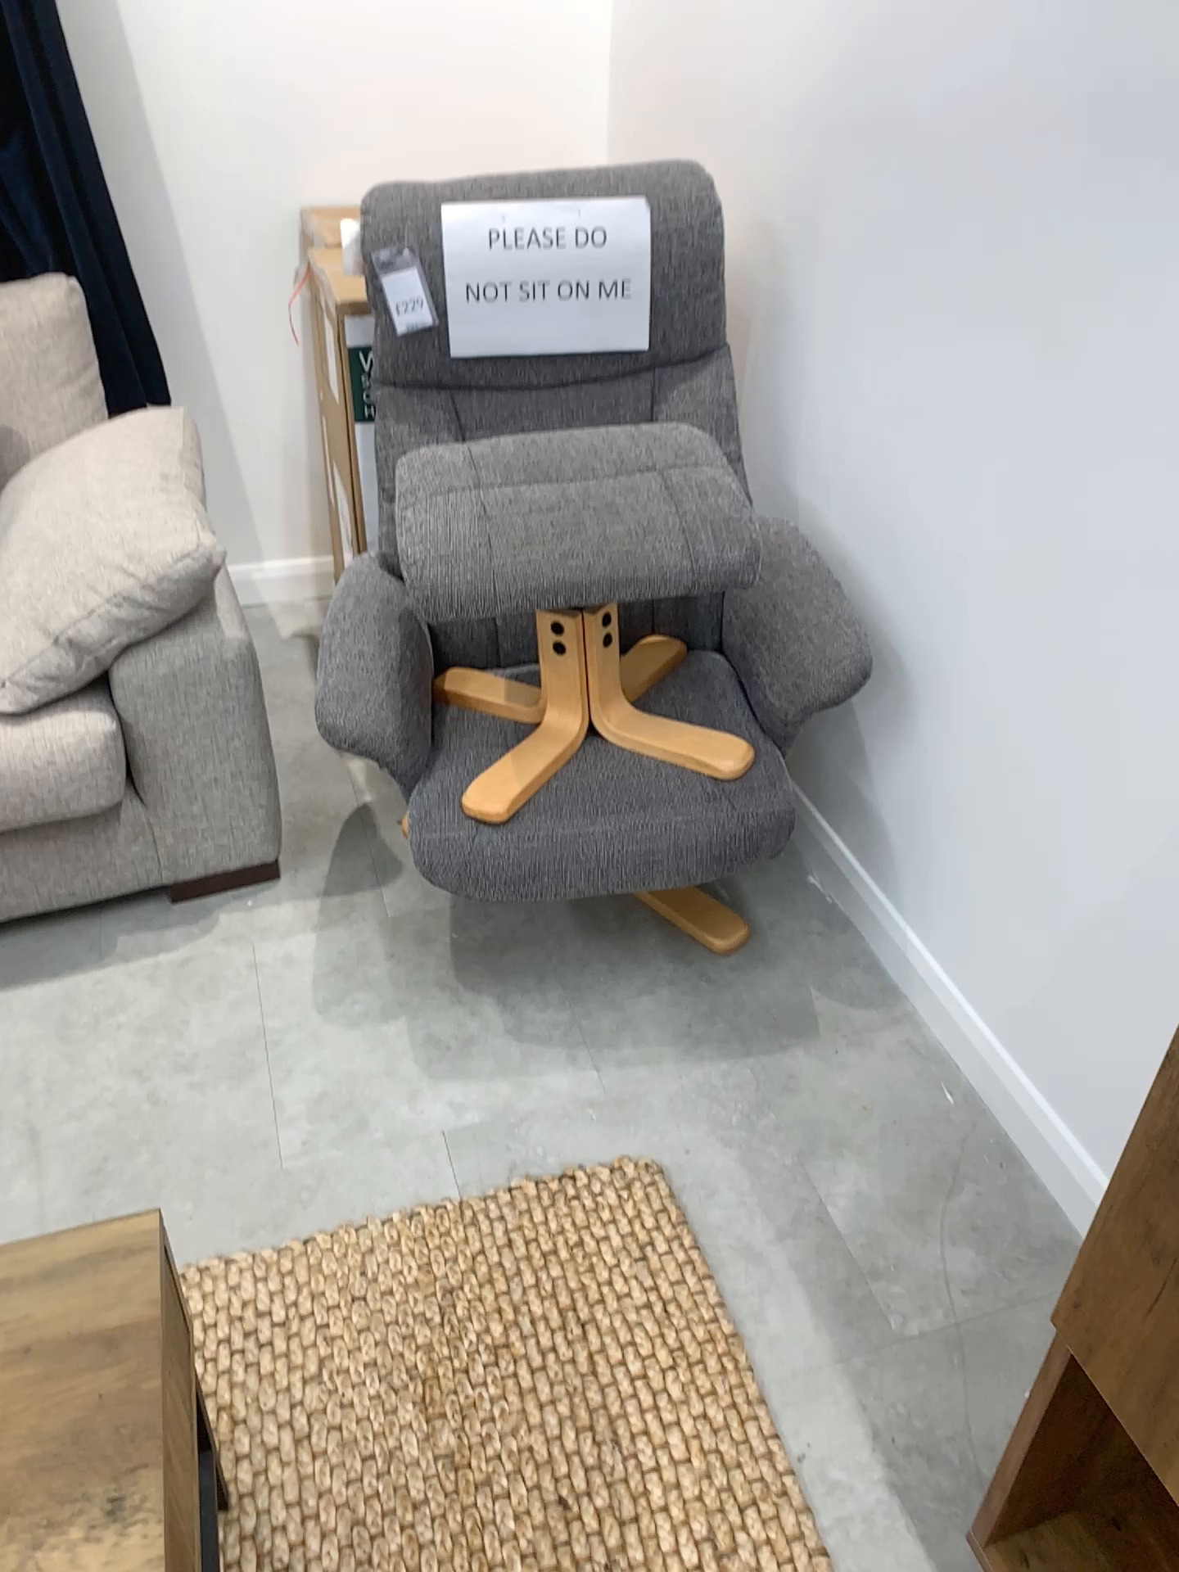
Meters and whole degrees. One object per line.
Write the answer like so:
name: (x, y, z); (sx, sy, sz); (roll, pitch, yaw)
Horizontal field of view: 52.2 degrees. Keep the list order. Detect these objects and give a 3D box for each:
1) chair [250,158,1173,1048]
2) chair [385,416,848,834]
chair: (0.051, -0.304, 1.658); (0.866, 0.896, 0.793); (-5, 35, -10)
chair: (0.003, -0.236, 1.606); (0.496, 0.352, 0.449); (-5, 35, -10)
